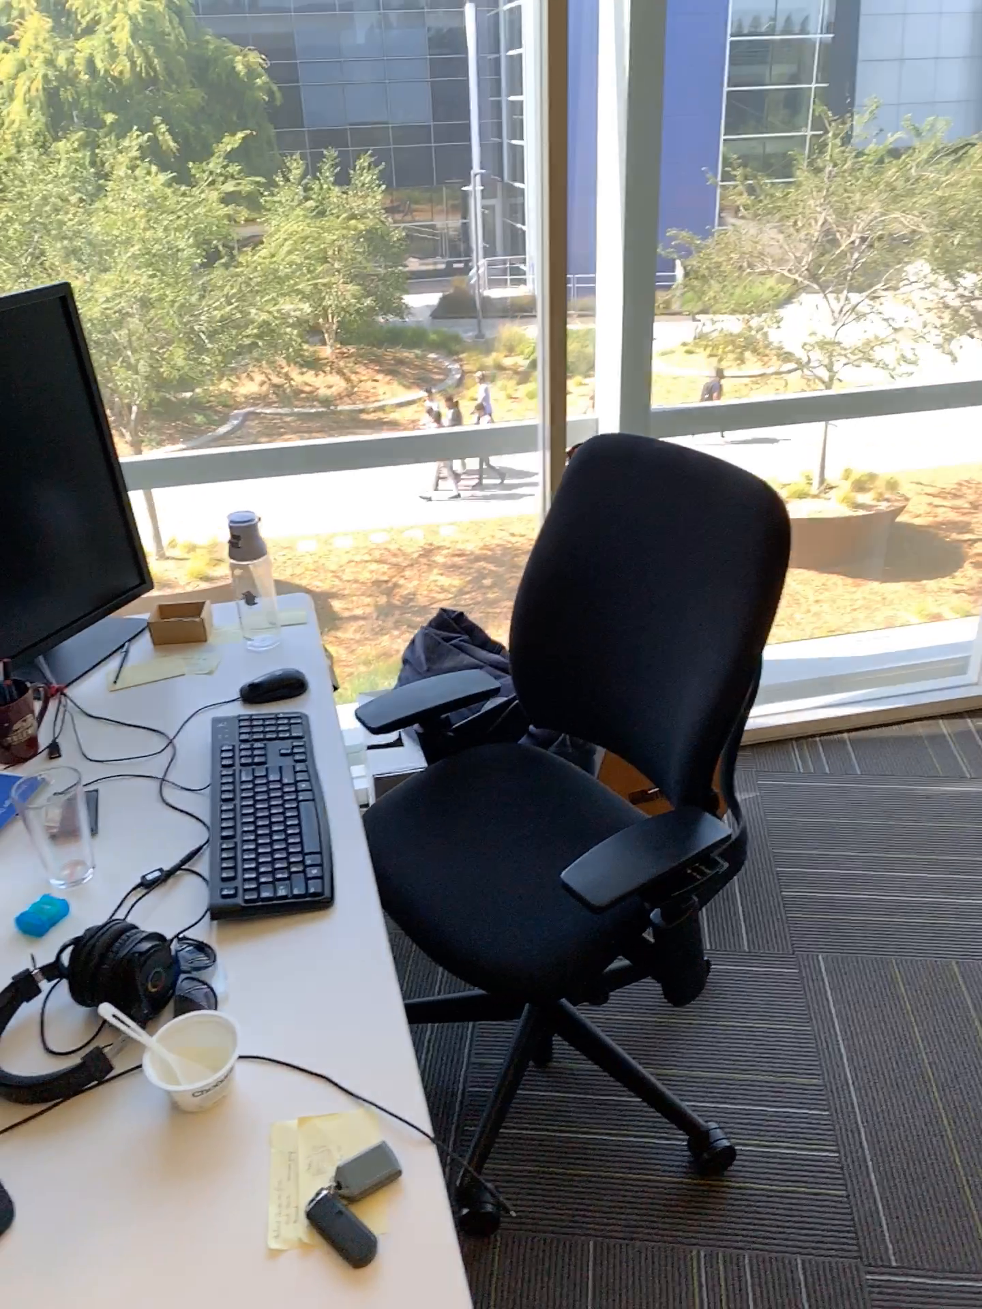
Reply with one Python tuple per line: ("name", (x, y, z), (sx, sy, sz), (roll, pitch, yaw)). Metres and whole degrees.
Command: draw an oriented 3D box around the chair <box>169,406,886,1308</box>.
("chair", (0.057, 0.328, 1.671), (0.690, 1.224, 0.713), (-24, 35, -35))
